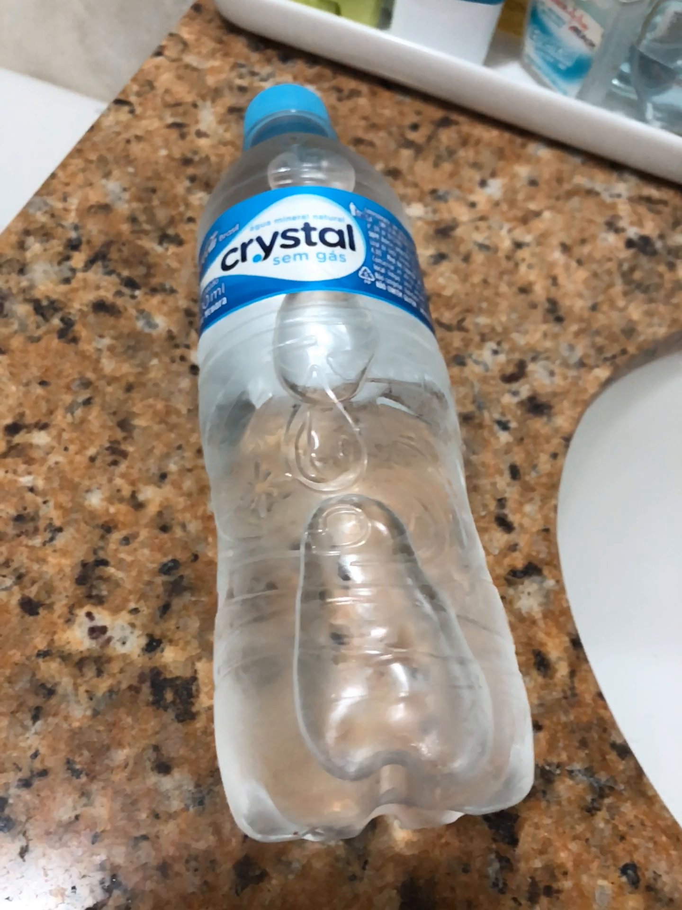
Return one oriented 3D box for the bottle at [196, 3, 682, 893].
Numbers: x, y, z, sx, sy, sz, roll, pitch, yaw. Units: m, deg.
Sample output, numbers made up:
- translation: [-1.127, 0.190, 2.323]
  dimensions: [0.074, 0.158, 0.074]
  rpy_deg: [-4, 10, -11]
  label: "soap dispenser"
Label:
- translation: [0.003, -0.026, 0.197]
  dimensions: [0.070, 0.050, 0.231]
  rpy_deg: [-3, 59, -10]
  label: "bottle"
